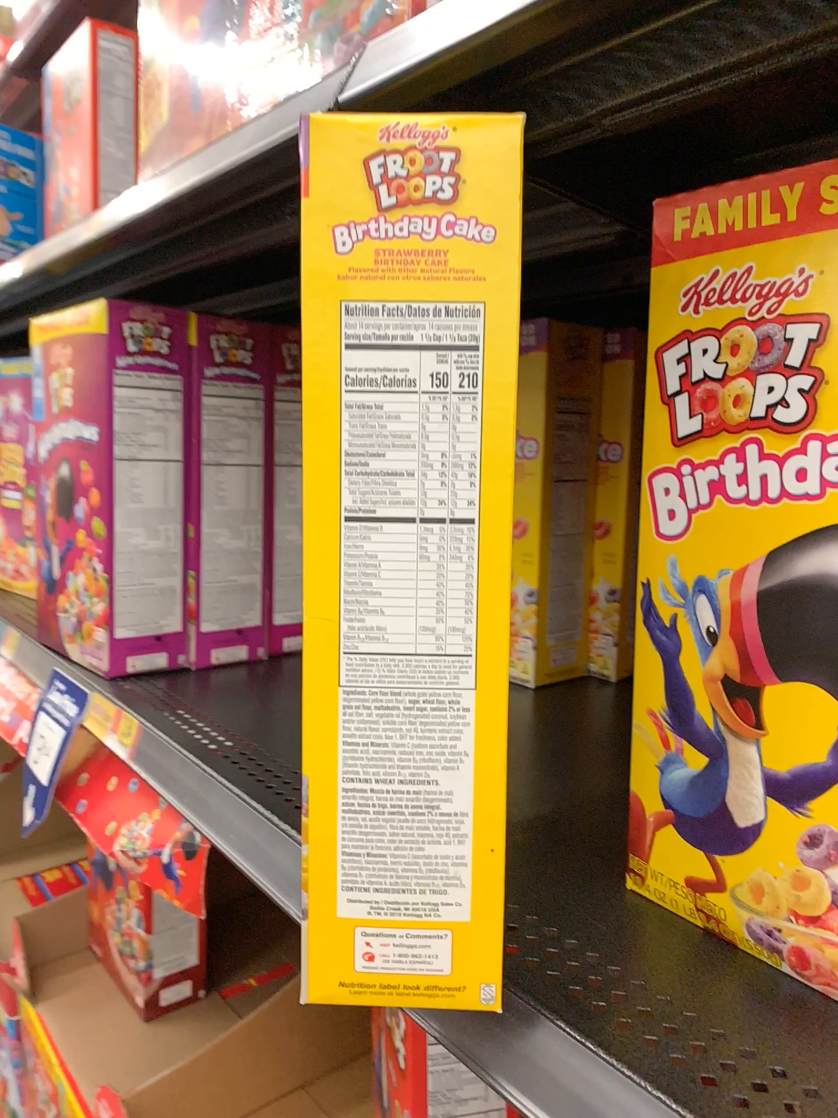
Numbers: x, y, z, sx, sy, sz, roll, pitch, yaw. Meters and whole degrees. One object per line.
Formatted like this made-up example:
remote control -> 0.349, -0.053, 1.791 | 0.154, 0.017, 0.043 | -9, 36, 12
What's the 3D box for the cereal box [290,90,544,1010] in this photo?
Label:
cereal box -> -0.002, -0.007, 0.410 | 0.080, 0.329, 0.200 | 2, 8, 1
